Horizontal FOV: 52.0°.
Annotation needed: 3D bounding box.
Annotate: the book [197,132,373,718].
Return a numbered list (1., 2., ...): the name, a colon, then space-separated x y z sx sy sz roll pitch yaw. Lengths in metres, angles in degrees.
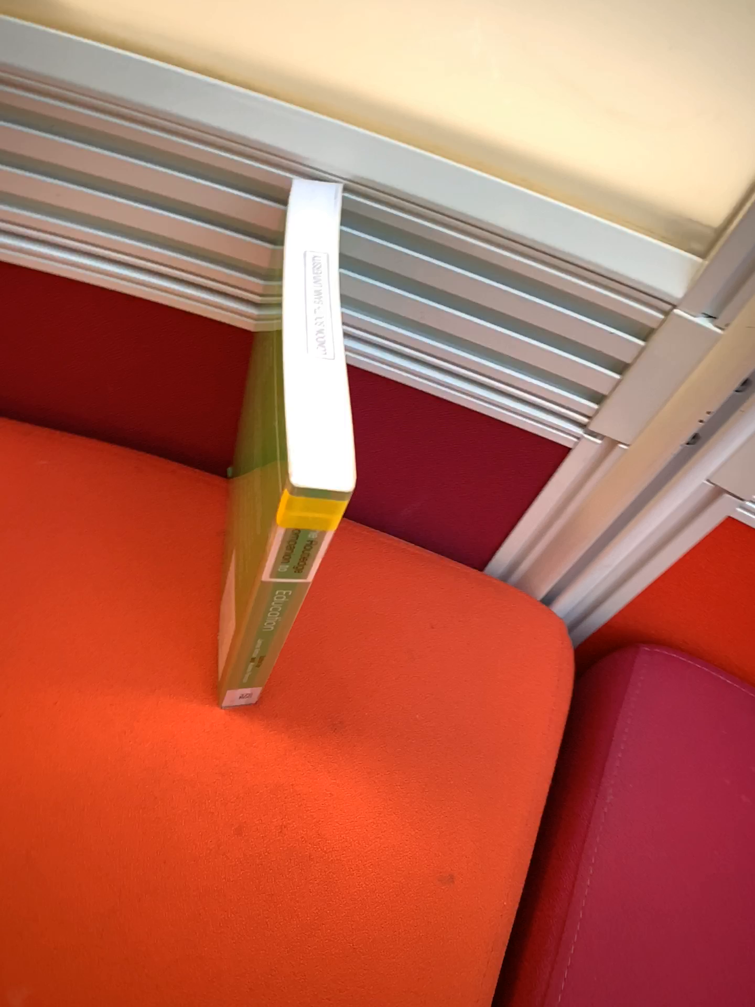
1. book: -0.061 -0.021 0.431 0.040 0.268 0.201 7 56 -14
